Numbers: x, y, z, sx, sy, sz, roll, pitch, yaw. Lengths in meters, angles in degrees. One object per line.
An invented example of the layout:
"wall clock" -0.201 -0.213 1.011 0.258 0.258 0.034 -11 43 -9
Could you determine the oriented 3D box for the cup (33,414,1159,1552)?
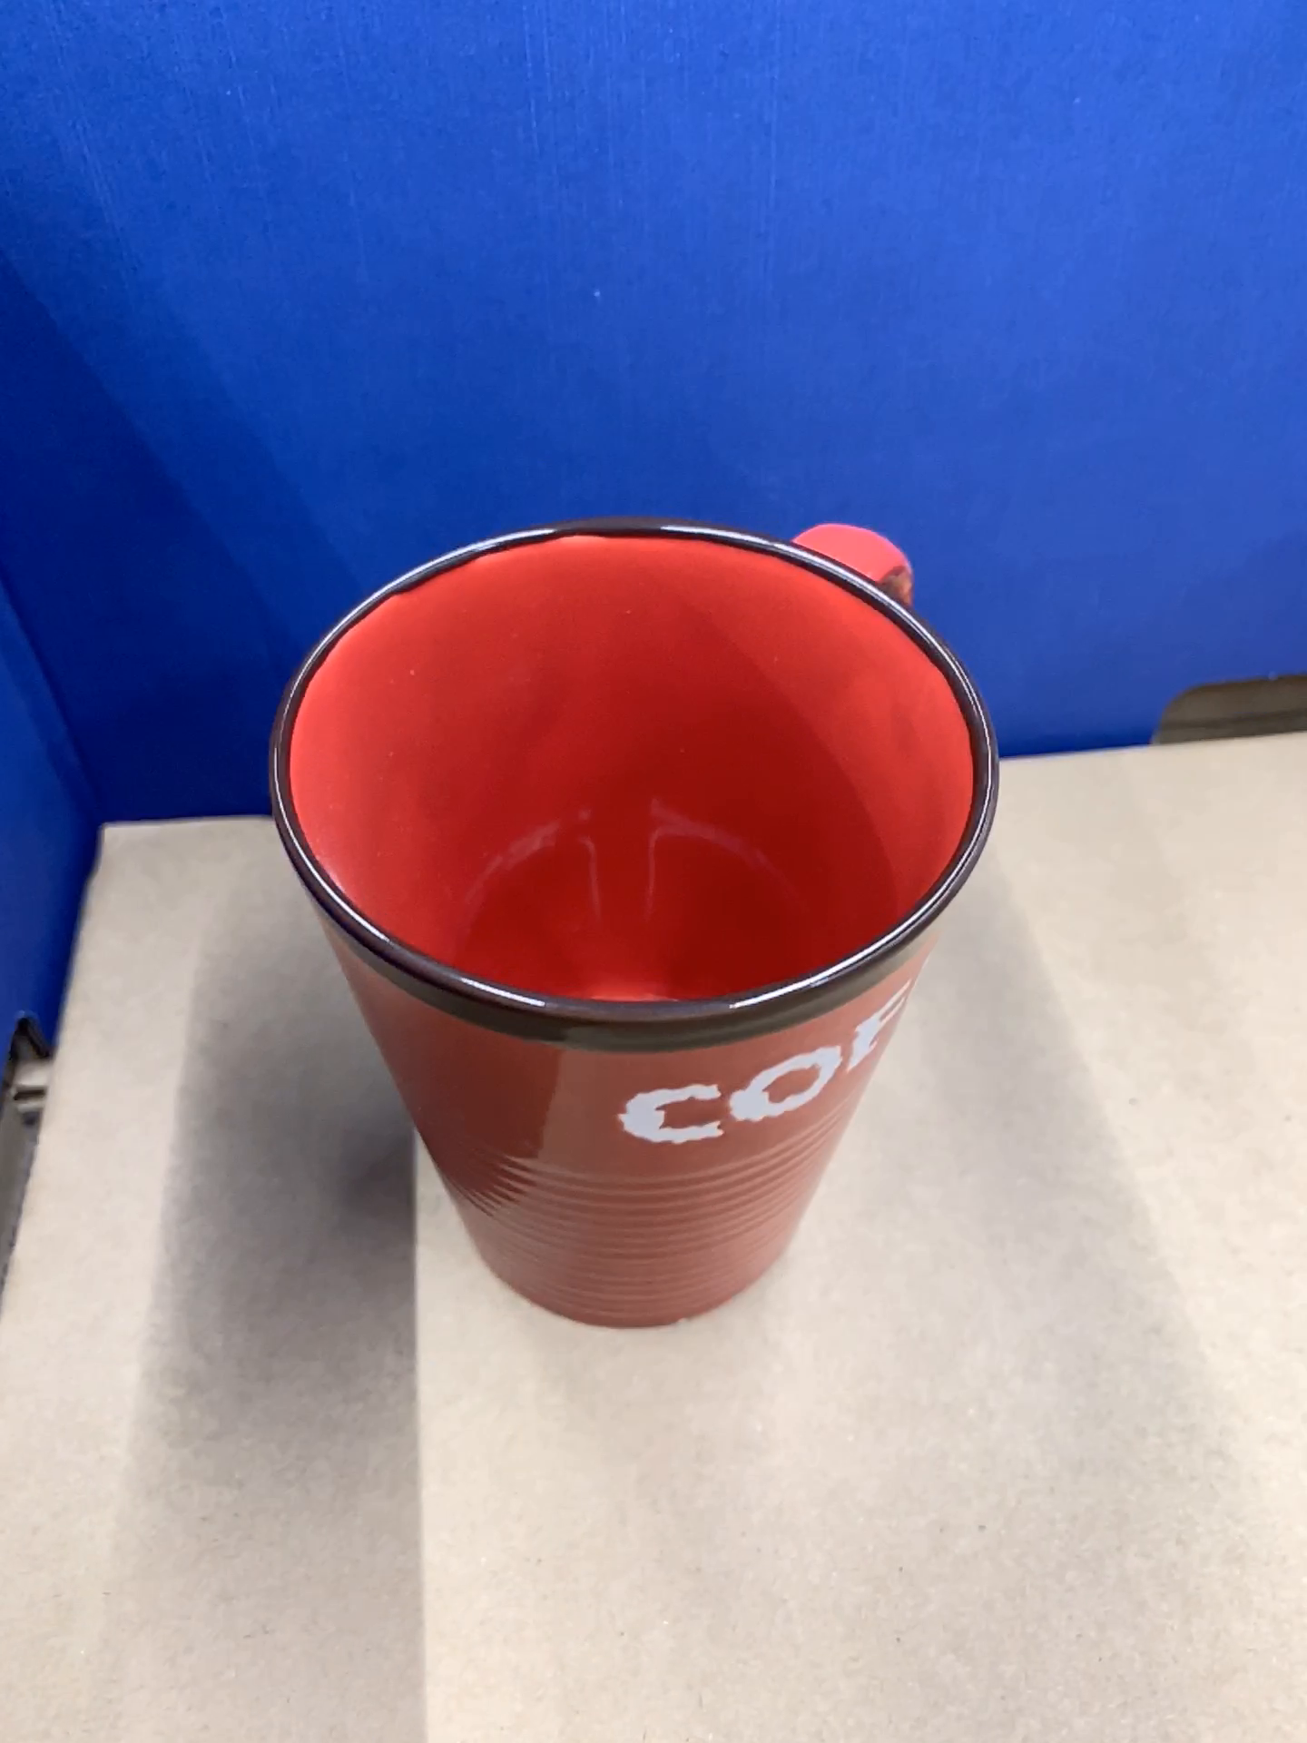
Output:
"cup" 0.000 0.008 0.219 0.100 0.092 0.125 24 51 23
